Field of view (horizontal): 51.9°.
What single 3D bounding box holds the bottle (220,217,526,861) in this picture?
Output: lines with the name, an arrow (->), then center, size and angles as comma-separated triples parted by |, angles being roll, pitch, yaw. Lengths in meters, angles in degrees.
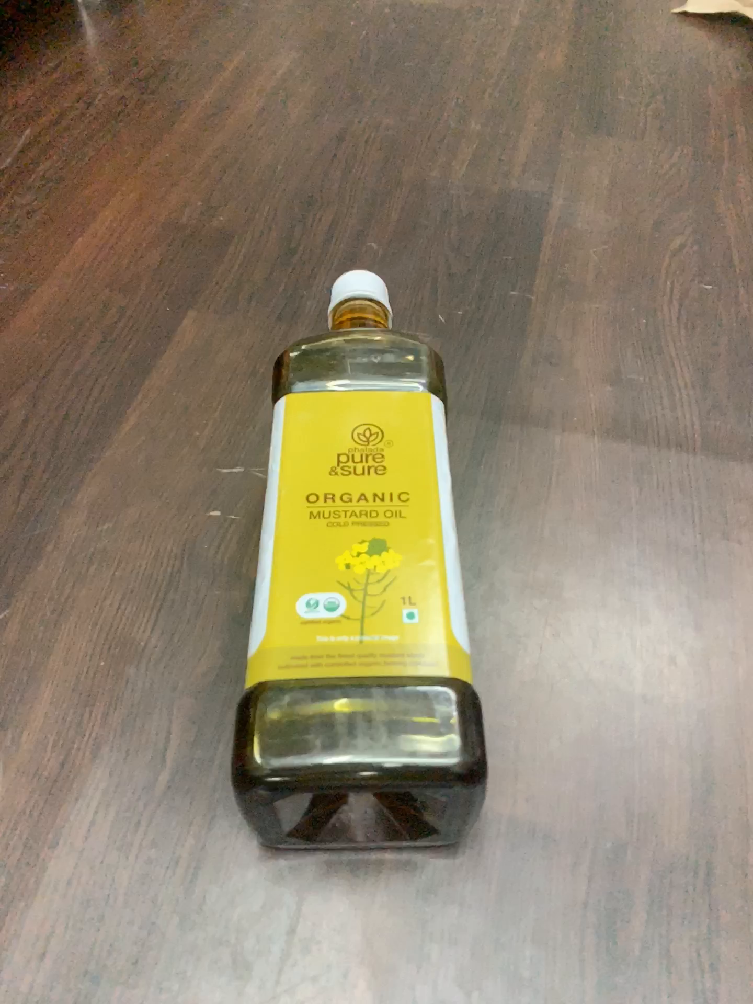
bottle -> -0.001, -0.007, 0.319 | 0.080, 0.080, 0.271 | 0, 51, 0
